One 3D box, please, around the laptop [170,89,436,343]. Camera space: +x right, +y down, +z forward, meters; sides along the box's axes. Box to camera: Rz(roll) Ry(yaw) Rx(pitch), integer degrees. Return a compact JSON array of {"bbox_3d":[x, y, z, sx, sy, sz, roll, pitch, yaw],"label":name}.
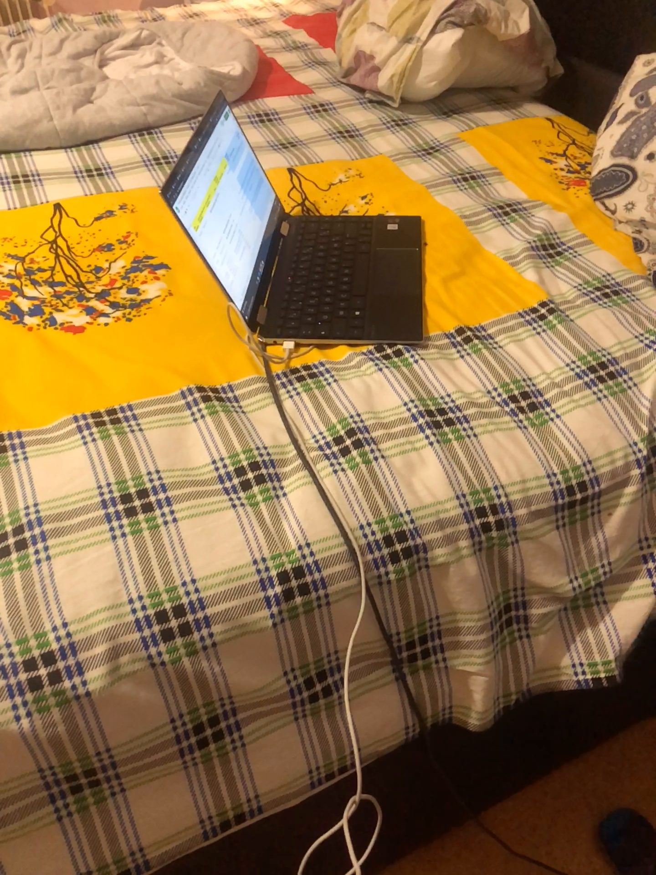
[{"bbox_3d":[-0.013,-0.264,0.827,0.253,0.158,0.276,3,45,5],"label":"laptop"}]
